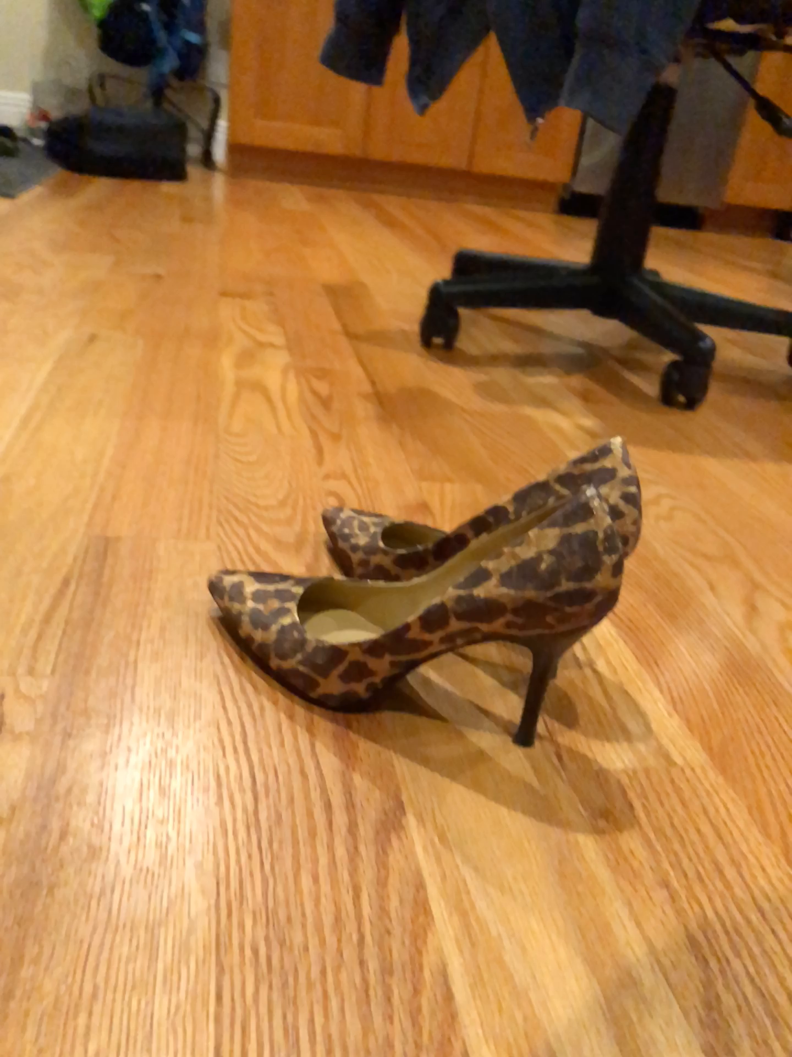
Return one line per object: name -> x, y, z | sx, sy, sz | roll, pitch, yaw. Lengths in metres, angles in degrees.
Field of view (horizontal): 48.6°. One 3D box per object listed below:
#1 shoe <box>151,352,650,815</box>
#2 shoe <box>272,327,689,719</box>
shoe -> -0.009, 0.014, 0.435 | 0.219, 0.144, 0.084 | 20, 27, 24
shoe -> 0.034, -0.017, 0.515 | 0.219, 0.144, 0.084 | 27, 31, 36
